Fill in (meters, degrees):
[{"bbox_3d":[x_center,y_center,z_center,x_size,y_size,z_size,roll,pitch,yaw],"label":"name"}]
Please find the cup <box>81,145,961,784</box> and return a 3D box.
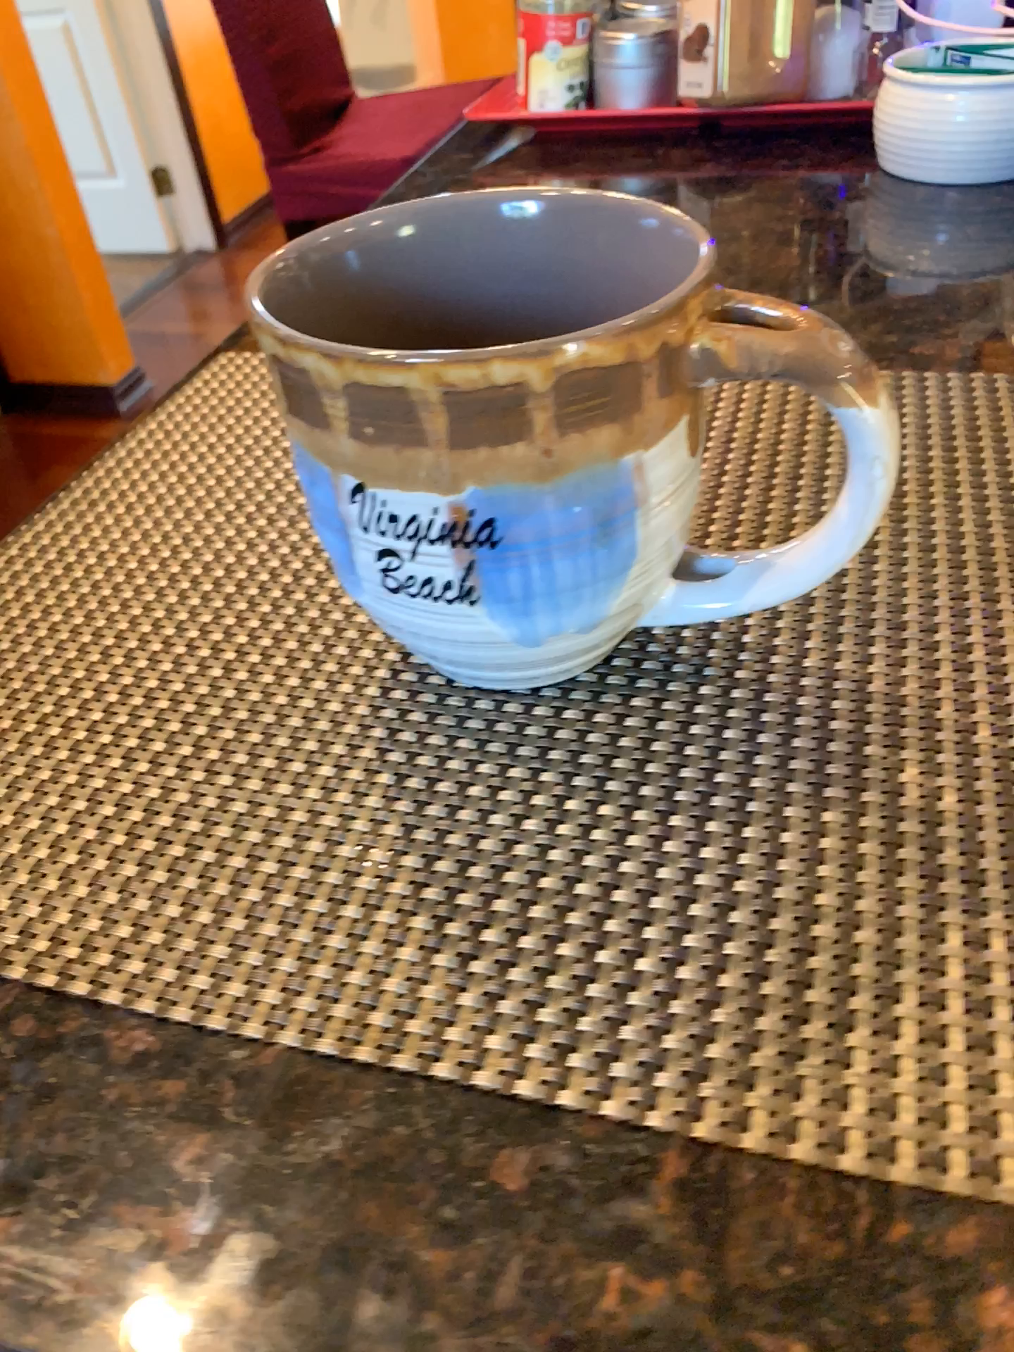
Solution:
[{"bbox_3d":[0.011,-0.057,0.238,0.150,0.090,0.100,11,43,20],"label":"cup"}]
